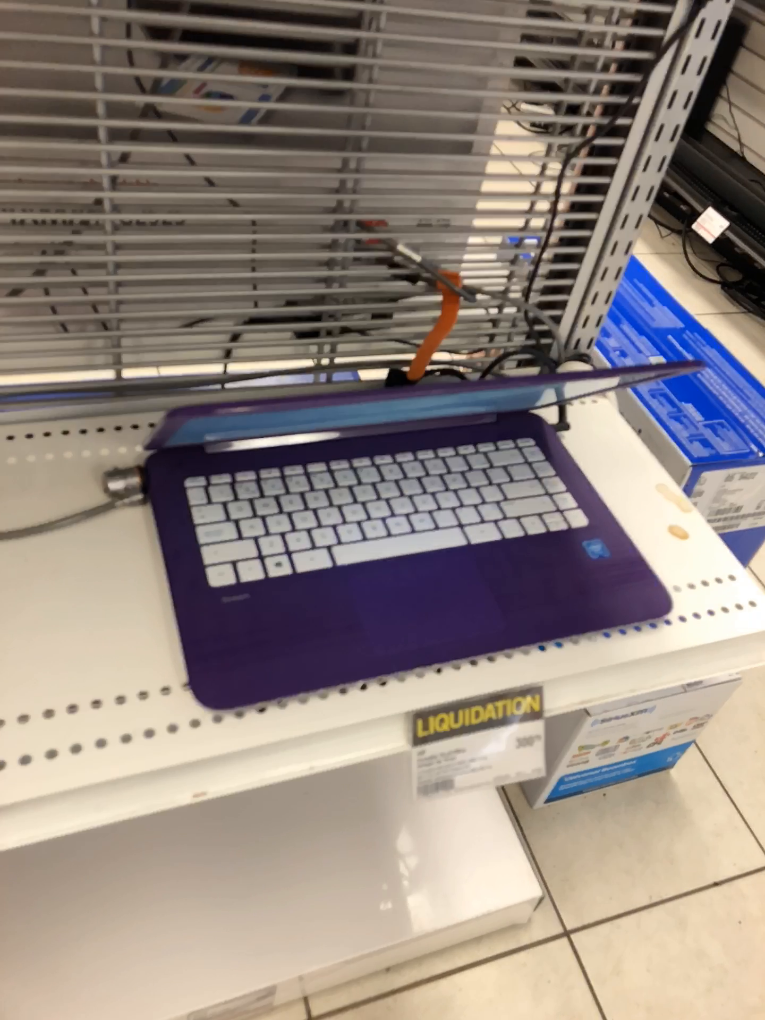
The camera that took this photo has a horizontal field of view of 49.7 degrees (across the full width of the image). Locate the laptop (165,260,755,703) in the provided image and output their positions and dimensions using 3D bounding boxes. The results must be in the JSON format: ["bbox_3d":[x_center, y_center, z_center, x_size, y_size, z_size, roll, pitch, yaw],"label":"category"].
[{"bbox_3d":[0.030,-0.036,0.534,0.305,0.138,0.206,-8,49,-19],"label":"laptop"}]
